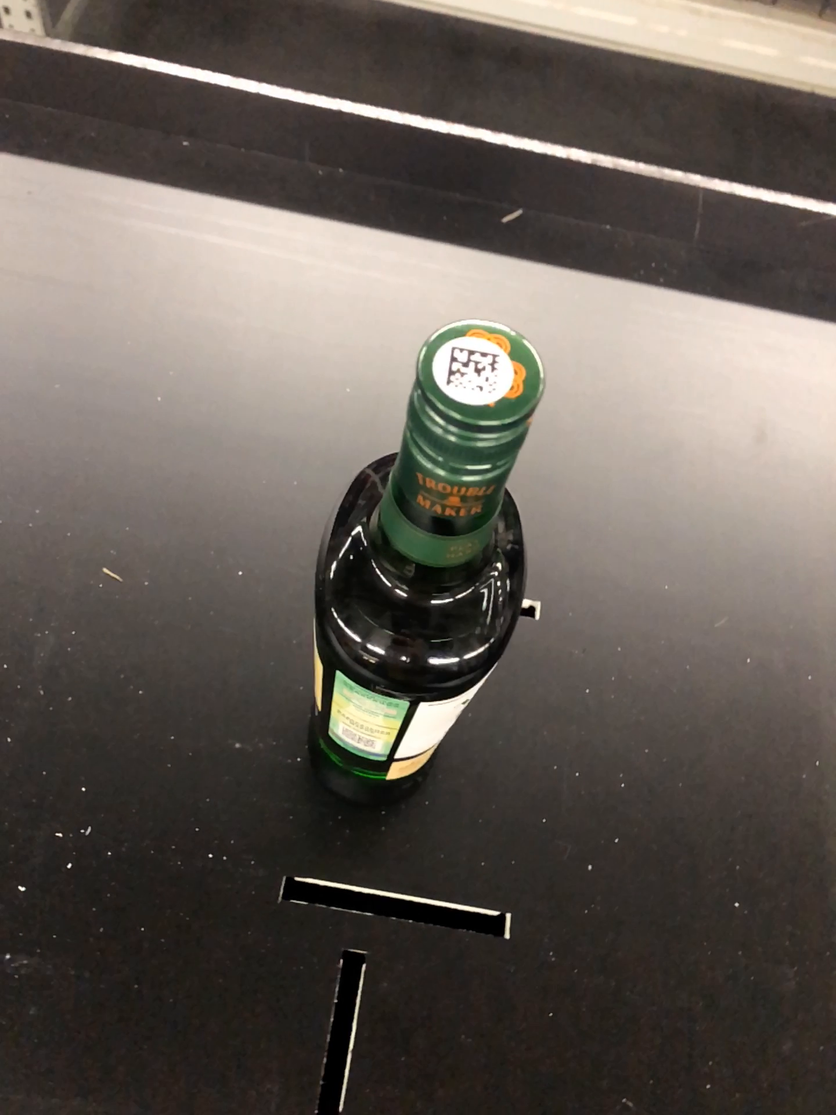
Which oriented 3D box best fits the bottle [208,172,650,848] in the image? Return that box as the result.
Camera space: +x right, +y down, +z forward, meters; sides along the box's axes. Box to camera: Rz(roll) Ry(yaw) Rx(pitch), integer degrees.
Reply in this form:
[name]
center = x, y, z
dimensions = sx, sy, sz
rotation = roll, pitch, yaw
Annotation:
[bottle]
center = -0.008, 0.023, 0.341
dimensions = 0.080, 0.299, 0.100
rotation = 14, 63, 0
